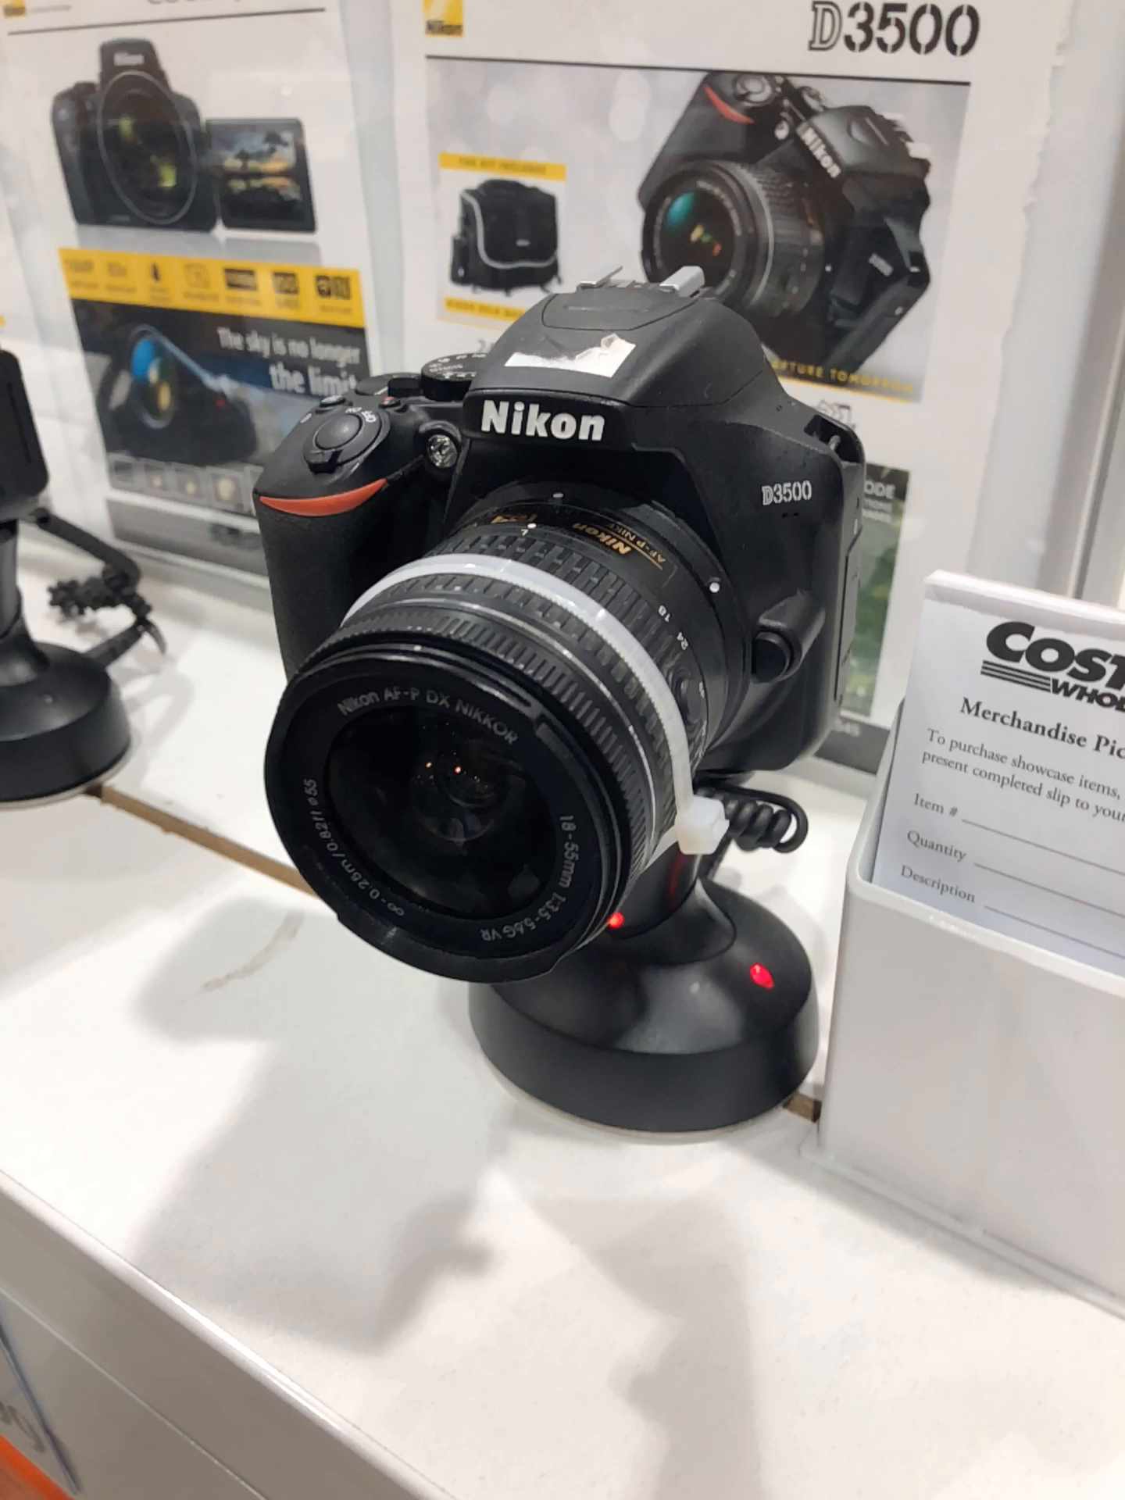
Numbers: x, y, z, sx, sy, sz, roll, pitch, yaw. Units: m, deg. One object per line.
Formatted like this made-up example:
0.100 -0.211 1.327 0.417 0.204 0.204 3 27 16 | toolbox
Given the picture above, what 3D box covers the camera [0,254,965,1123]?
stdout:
-0.009 -0.026 0.233 0.140 0.100 0.120 9 32 17 | camera
